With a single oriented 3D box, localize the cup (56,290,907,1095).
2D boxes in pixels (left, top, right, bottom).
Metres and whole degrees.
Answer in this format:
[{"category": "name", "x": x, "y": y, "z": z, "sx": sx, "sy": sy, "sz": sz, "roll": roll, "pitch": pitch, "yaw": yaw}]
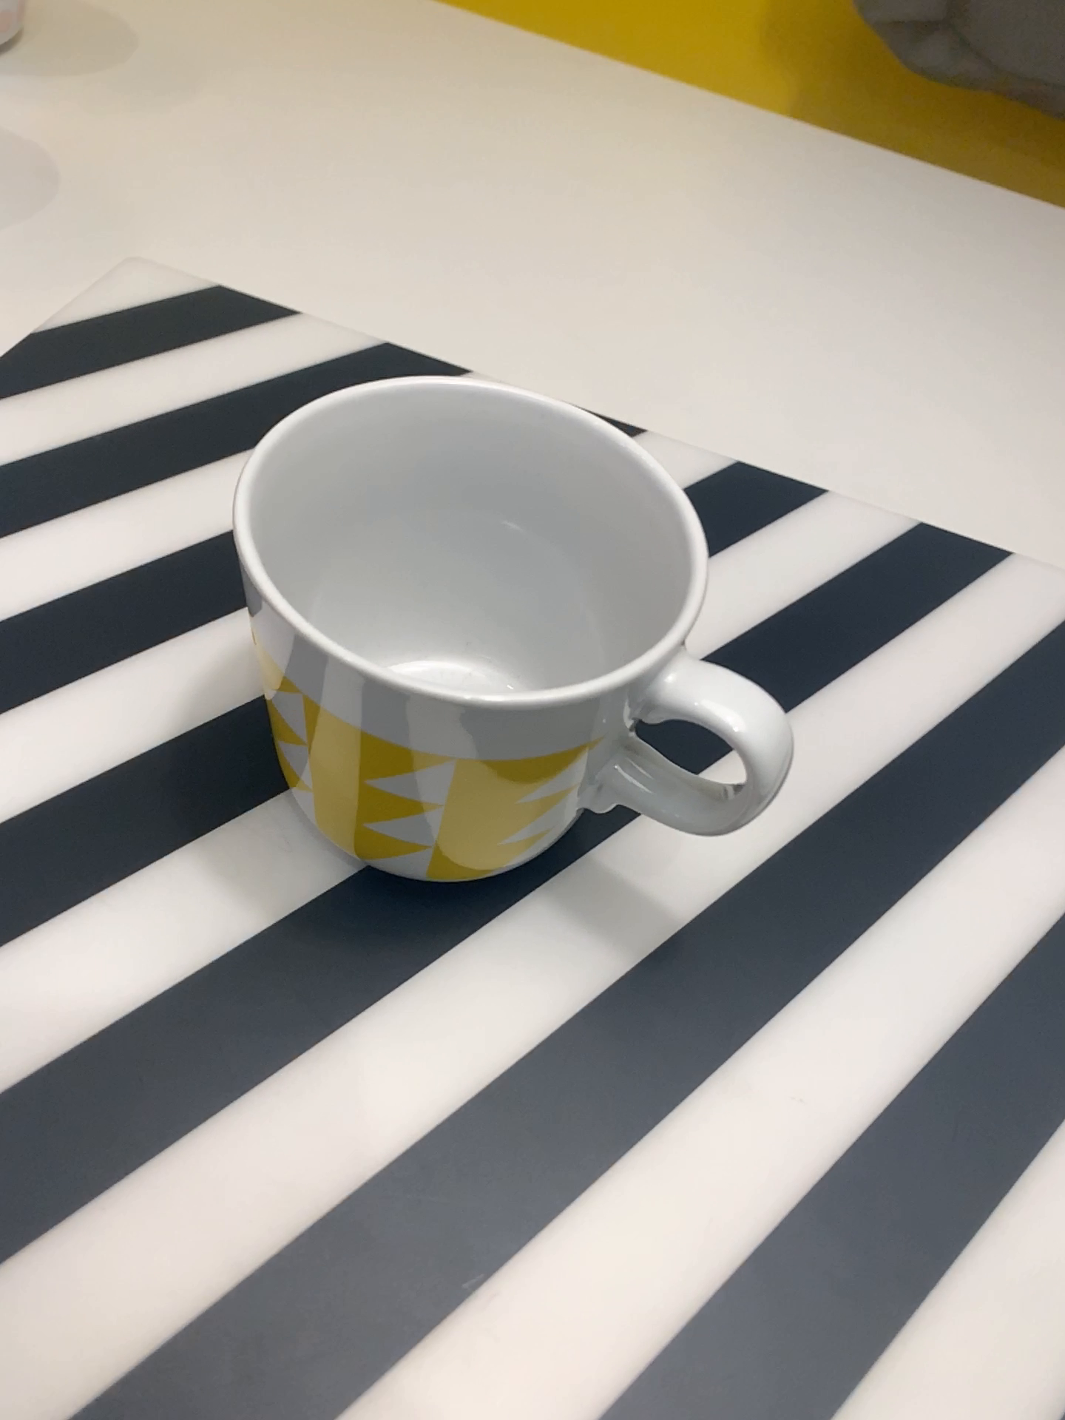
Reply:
[{"category": "cup", "x": -0.011, "y": -0.006, "z": 0.194, "sx": 0.110, "sy": 0.070, "sz": 0.070, "roll": 32, "pitch": 51, "yaw": 15}]
